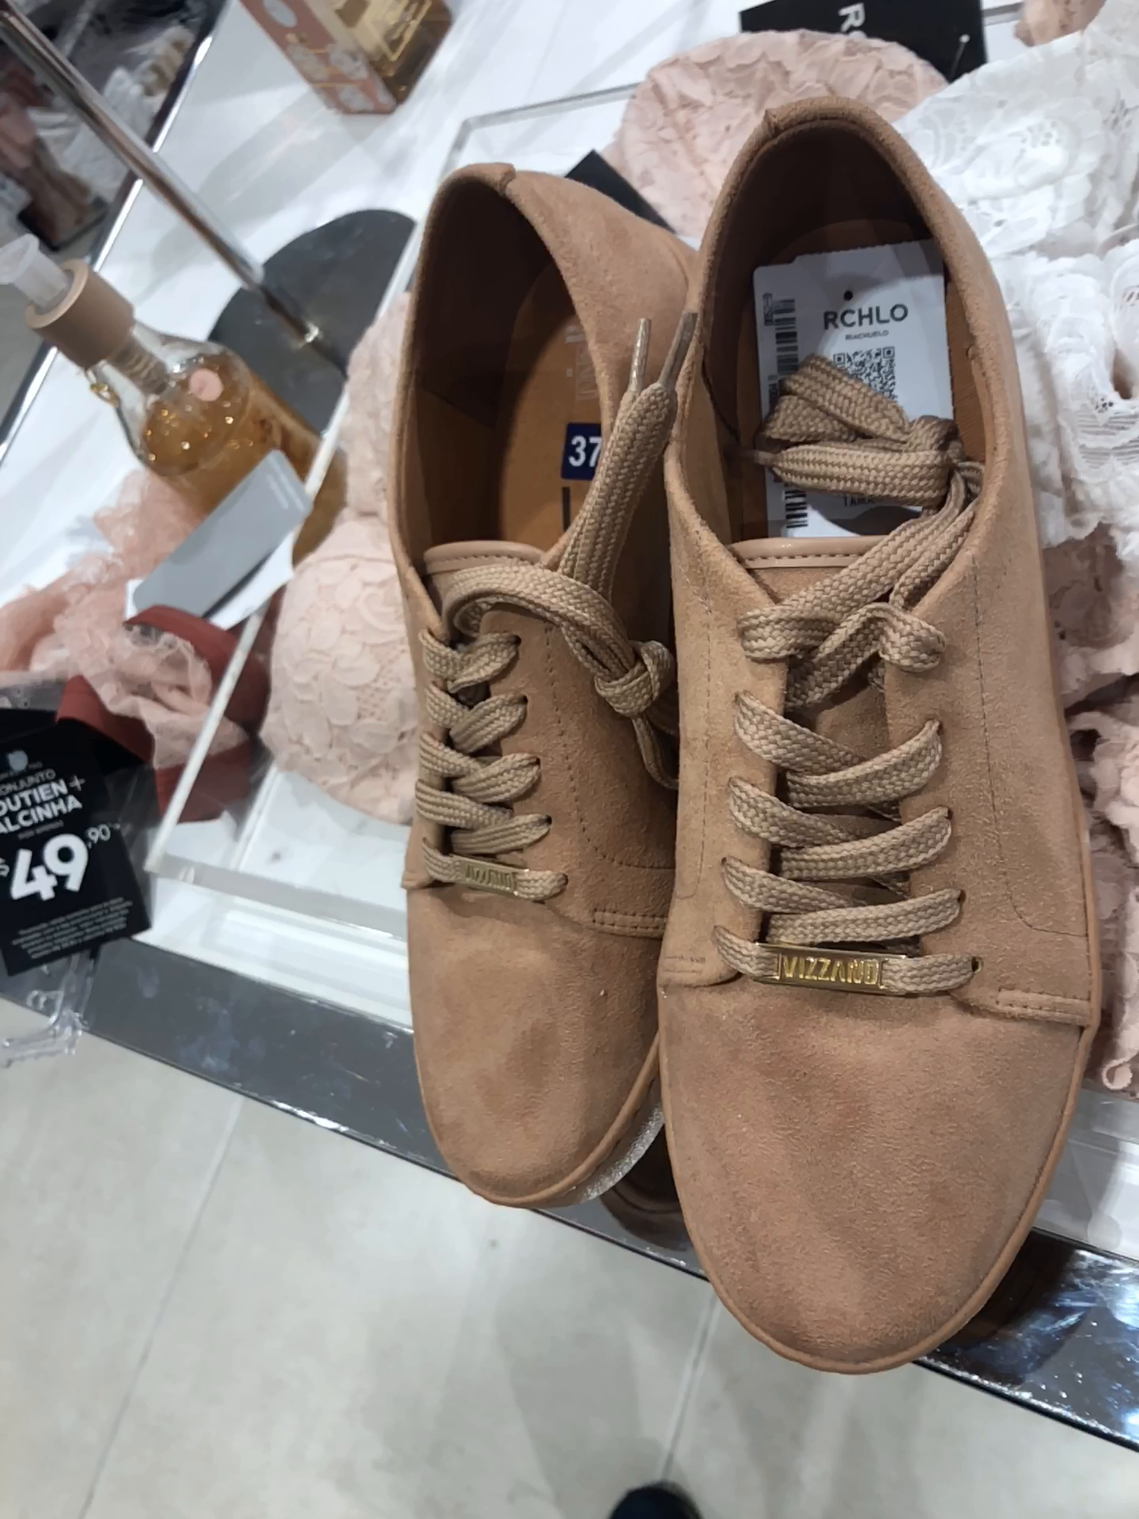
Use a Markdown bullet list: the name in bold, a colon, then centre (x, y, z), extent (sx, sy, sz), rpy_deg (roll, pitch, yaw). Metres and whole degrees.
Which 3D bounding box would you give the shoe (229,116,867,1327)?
- **shoe**: centre (0.000, -0.009, 0.316), extent (0.090, 0.100, 0.240), rpy_deg (6, 88, 33)

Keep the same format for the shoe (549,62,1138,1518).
- **shoe**: centre (0.062, 0.009, 0.255), extent (0.090, 0.100, 0.240), rpy_deg (1, 82, 17)
